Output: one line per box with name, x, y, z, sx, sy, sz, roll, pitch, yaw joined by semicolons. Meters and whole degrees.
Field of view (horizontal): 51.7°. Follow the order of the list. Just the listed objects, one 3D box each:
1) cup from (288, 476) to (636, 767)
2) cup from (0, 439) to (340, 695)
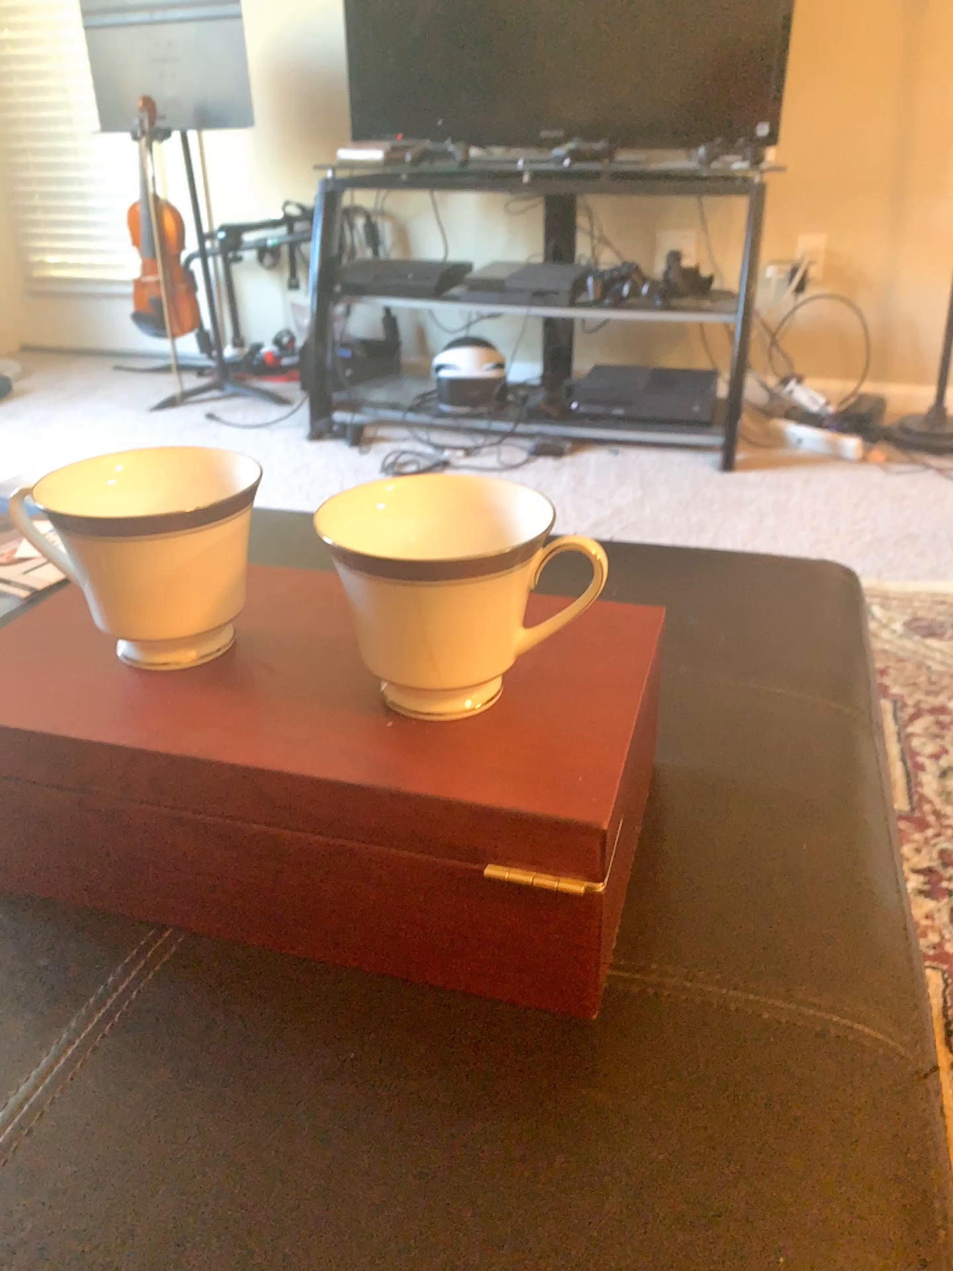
cup;-0.001;-0.011;0.390;0.110;0.070;0.090;7;29;16
cup;-0.131;-0.035;0.428;0.110;0.070;0.090;8;29;16
